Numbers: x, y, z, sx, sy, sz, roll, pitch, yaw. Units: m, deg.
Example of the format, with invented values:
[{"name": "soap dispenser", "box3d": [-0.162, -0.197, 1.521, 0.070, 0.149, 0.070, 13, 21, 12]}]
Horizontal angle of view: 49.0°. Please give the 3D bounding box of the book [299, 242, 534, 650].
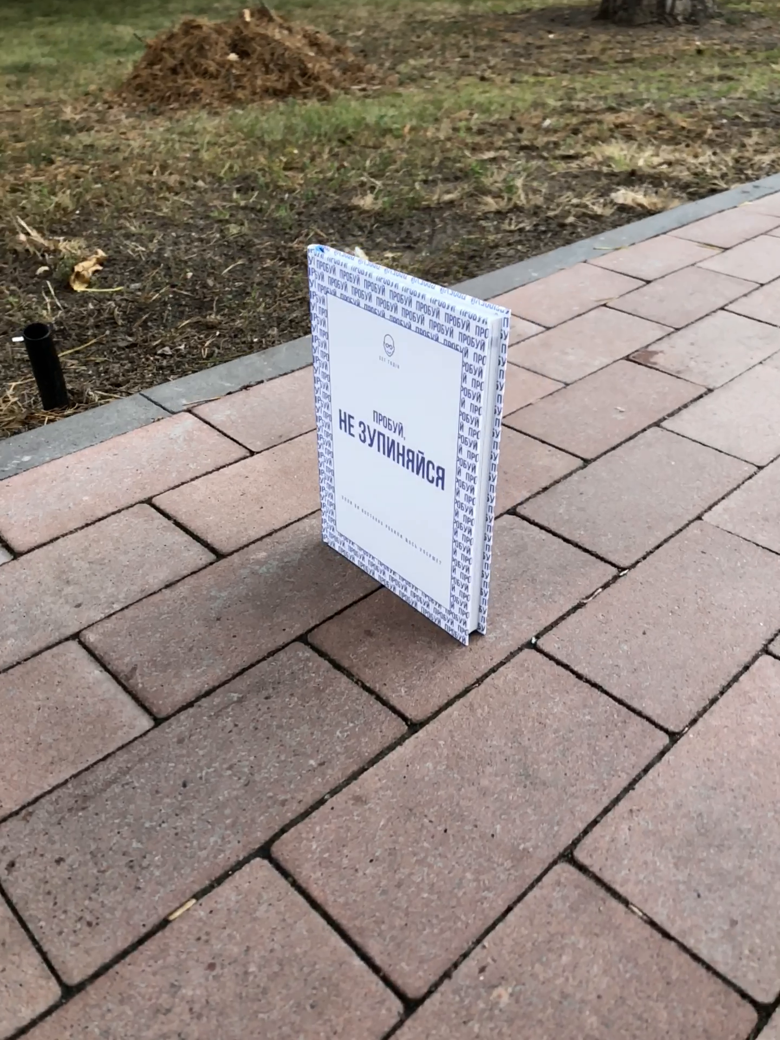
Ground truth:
[{"name": "book", "box3d": [0.008, -0.042, 0.492, 0.022, 0.196, 0.152, -26, 41, -34]}]
